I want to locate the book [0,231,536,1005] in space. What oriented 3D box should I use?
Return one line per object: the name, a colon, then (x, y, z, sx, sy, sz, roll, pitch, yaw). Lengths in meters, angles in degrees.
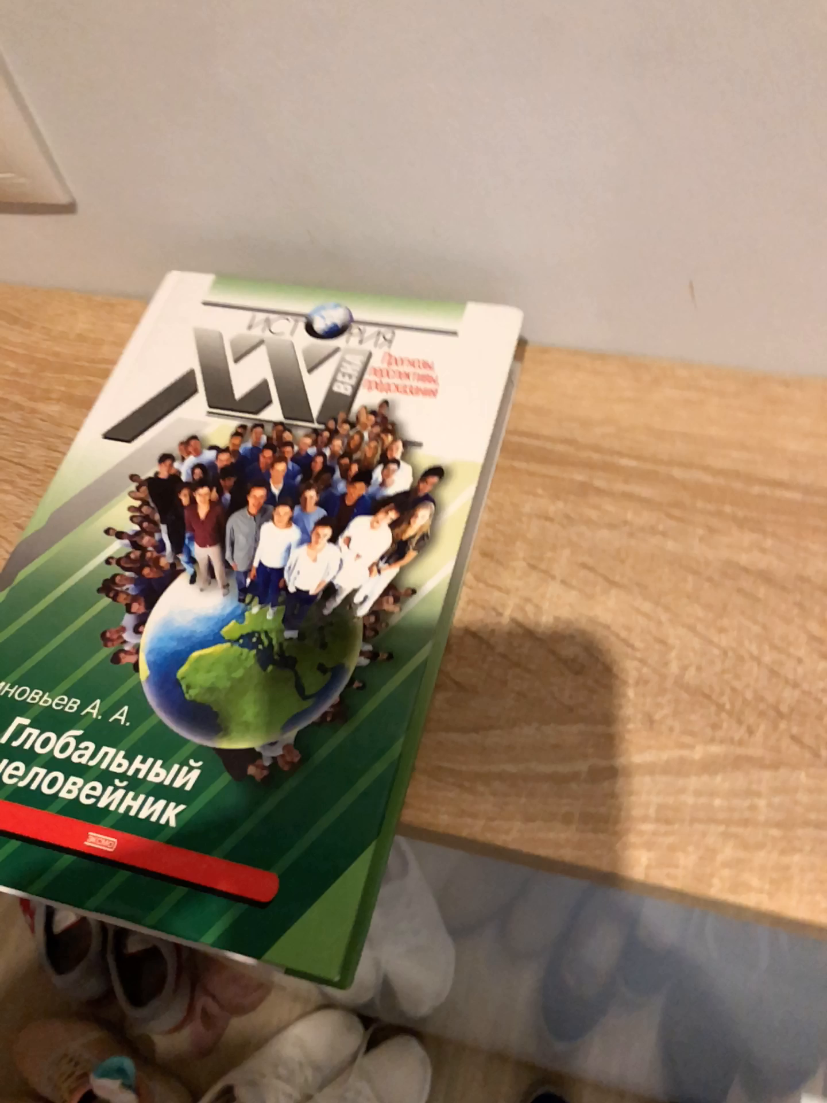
book: (-0.055, -0.006, 0.269, 0.140, 0.020, 0.221, 10, 60, 13)
